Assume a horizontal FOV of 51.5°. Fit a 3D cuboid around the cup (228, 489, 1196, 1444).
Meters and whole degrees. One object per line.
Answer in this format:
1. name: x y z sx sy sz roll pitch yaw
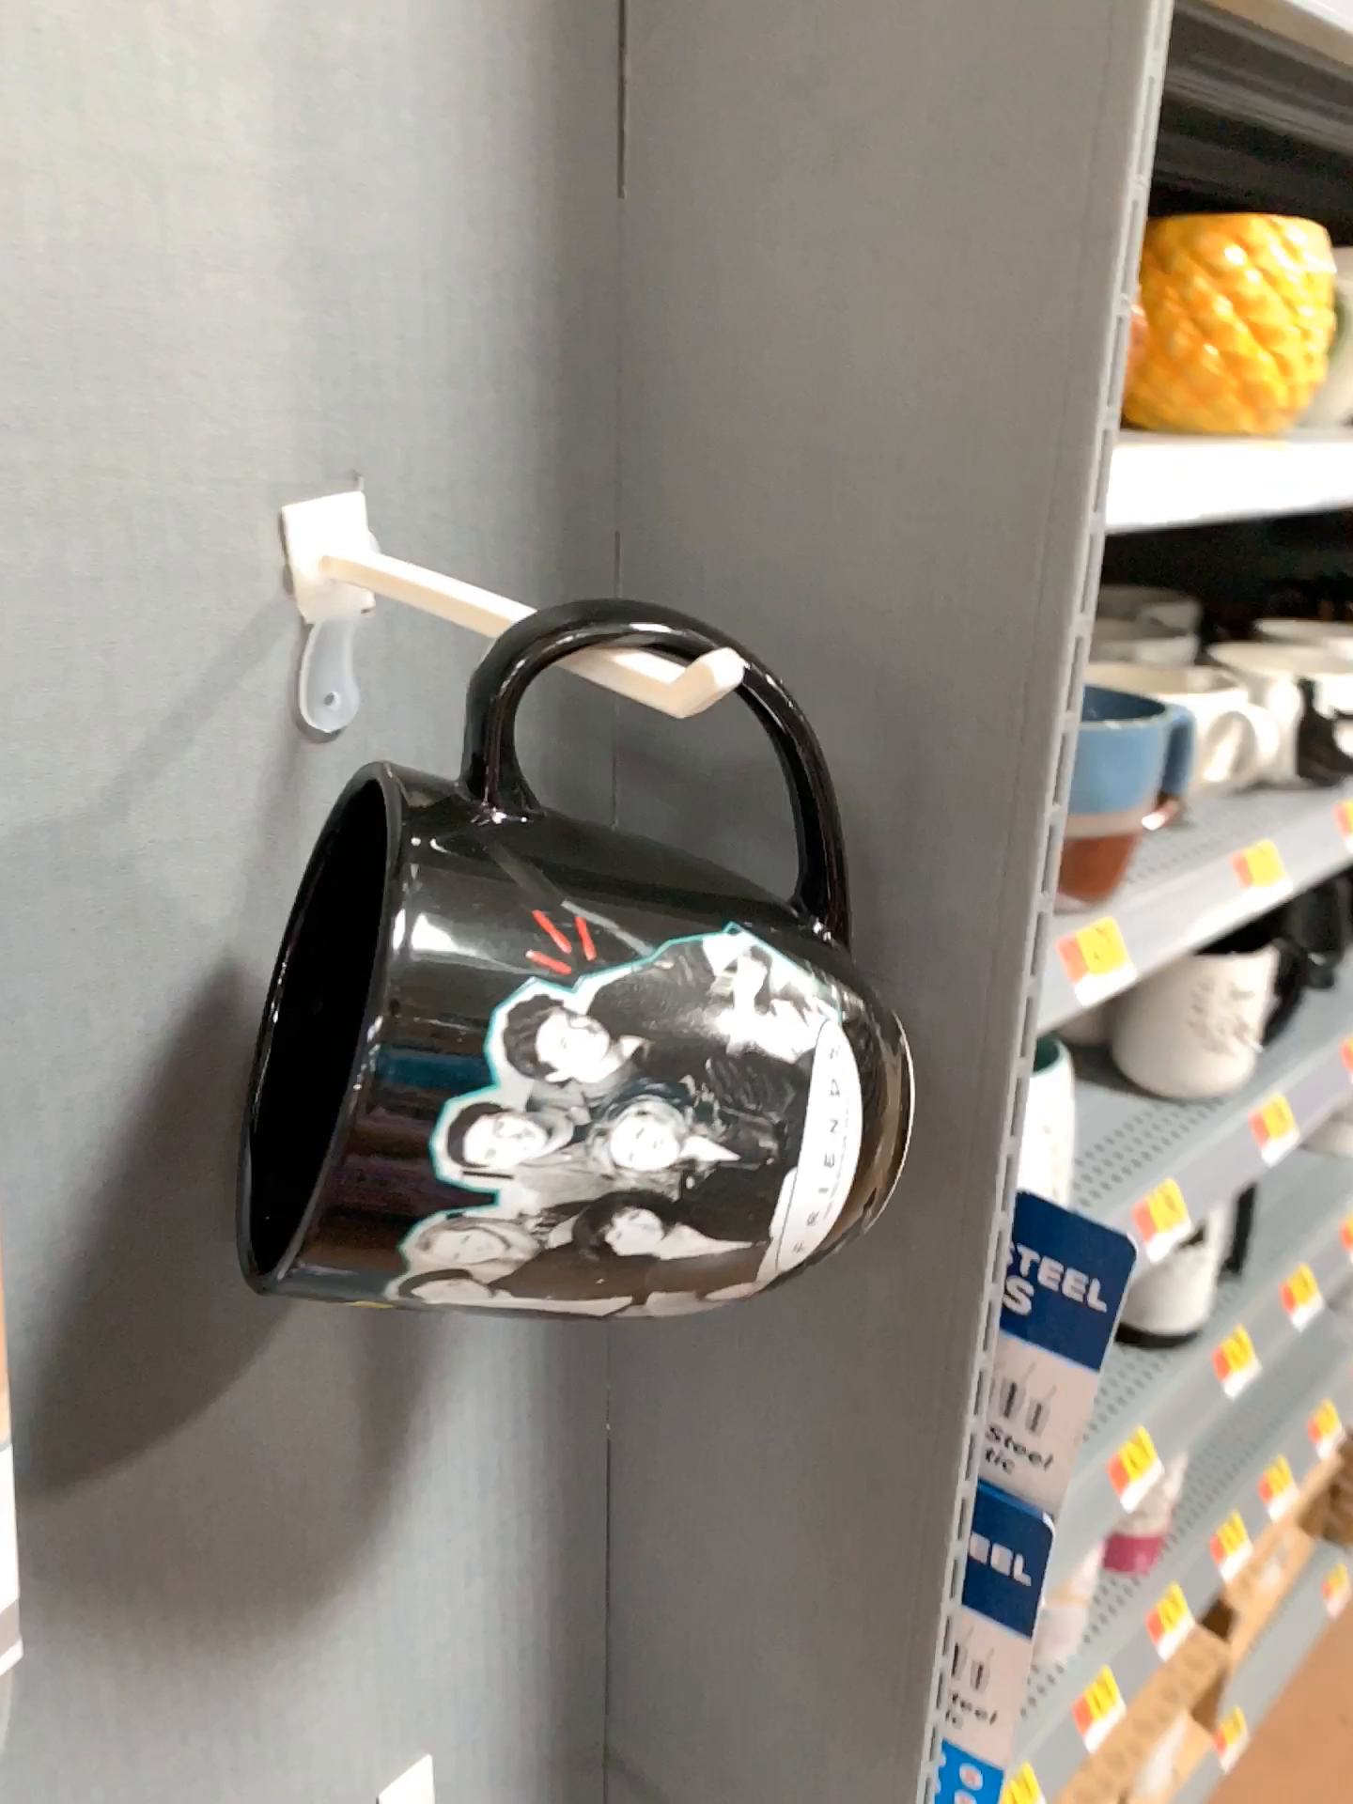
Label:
1. cup: -0.004 0.012 0.251 0.115 0.128 0.087 13 15 -24
